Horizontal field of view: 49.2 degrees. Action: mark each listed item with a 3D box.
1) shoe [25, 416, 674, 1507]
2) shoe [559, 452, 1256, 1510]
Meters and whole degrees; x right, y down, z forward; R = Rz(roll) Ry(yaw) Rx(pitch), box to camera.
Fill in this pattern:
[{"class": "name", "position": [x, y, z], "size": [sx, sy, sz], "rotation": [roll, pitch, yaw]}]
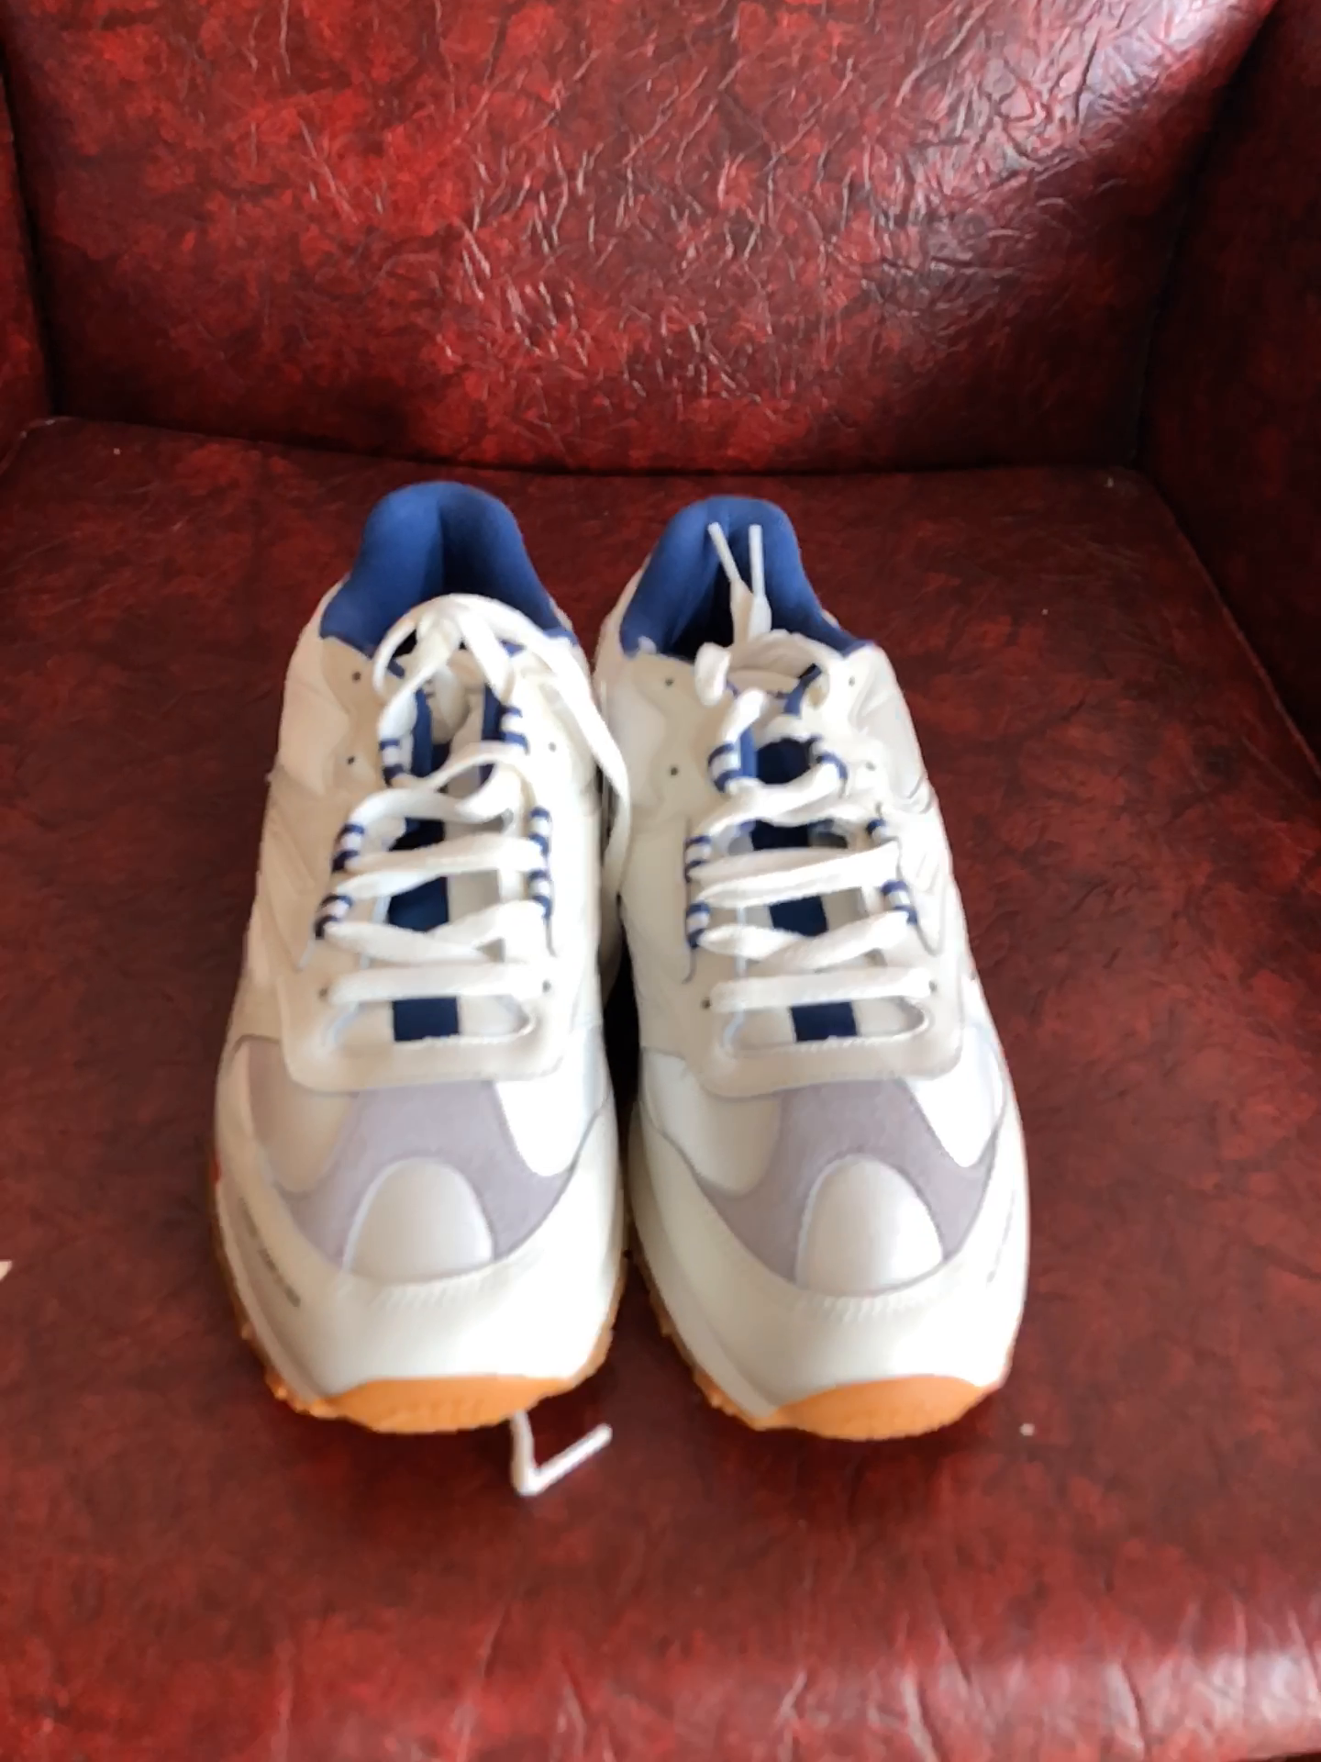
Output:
[{"class": "shoe", "position": [-0.071, 0.001, 0.374], "size": [0.110, 0.099, 0.272], "rotation": [-1, 50, -8]}, {"class": "shoe", "position": [0.038, 0.007, 0.387], "size": [0.110, 0.099, 0.272], "rotation": [-1, 50, -8]}]
